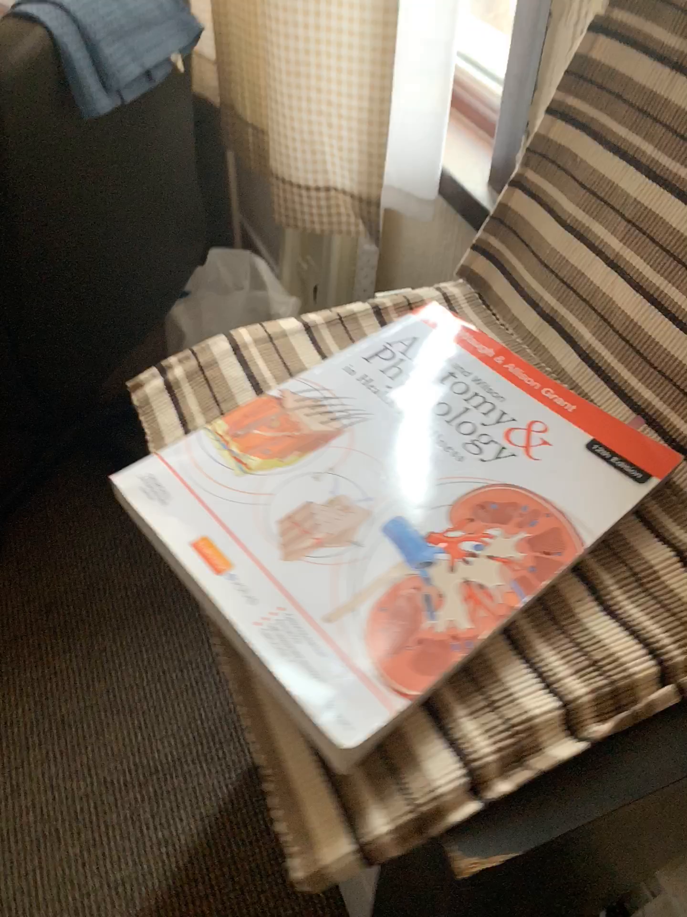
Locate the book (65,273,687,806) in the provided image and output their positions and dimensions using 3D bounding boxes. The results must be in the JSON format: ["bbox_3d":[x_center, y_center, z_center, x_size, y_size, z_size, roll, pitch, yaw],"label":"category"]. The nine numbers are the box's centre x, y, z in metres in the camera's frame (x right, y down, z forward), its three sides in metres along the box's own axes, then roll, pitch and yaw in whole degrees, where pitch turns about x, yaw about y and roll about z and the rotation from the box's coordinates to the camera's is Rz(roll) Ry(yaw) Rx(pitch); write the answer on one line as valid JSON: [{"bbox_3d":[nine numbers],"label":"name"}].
[{"bbox_3d":[0.023,0.007,0.426,0.281,0.040,0.241,-32,55,-27],"label":"book"}]
